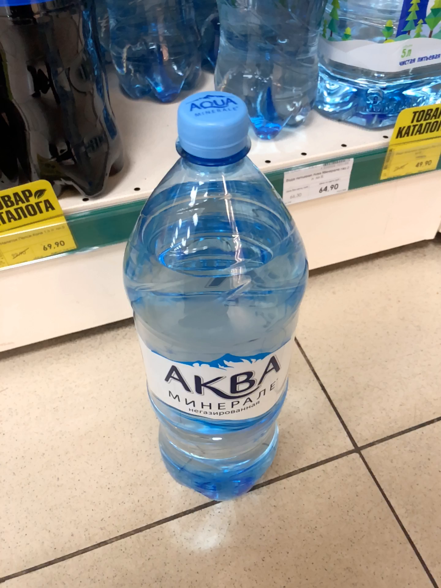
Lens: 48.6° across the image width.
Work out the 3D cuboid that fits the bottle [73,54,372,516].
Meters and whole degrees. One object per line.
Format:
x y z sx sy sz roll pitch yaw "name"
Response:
-0.003 0.033 0.318 0.105 0.323 0.089 -8 48 -6 "bottle"
